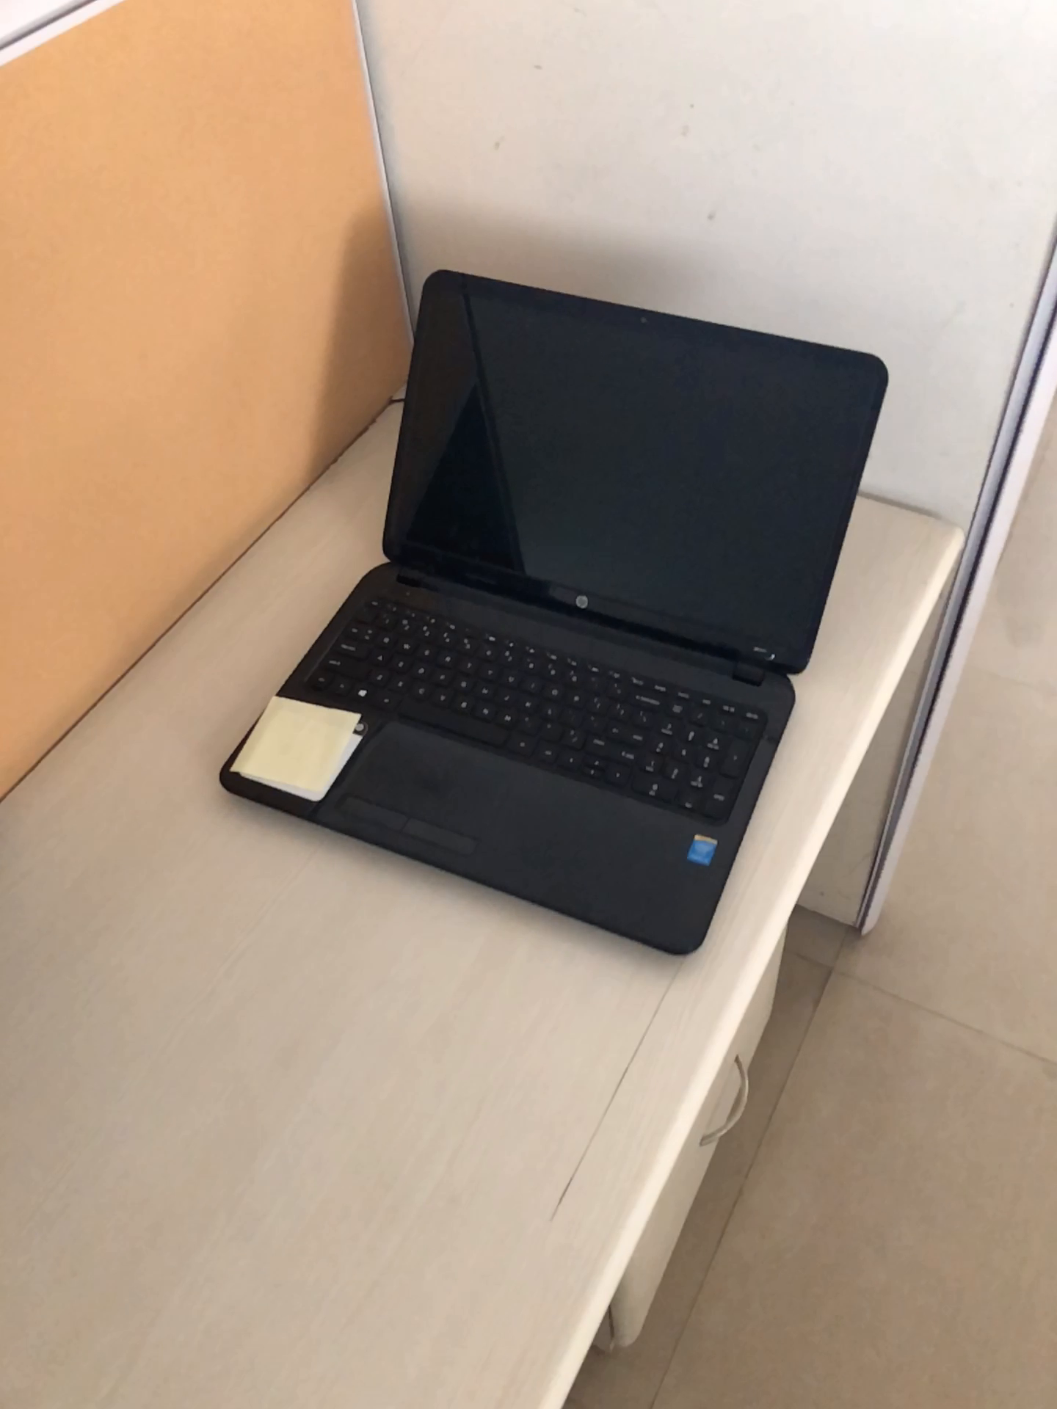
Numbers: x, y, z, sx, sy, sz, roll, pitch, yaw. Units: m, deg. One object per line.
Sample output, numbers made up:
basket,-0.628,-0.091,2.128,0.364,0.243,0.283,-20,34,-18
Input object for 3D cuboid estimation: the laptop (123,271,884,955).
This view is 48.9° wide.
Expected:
laptop,0.010,-0.100,0.886,0.391,0.204,0.418,17,53,18
